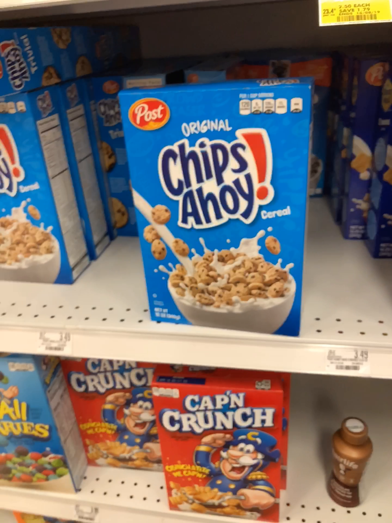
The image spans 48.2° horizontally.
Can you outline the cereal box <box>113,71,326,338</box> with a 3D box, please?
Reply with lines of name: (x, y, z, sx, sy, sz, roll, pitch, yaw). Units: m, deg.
cereal box: (0.032, -0.058, 0.476, 0.190, 0.259, 0.080, 4, 28, 16)
